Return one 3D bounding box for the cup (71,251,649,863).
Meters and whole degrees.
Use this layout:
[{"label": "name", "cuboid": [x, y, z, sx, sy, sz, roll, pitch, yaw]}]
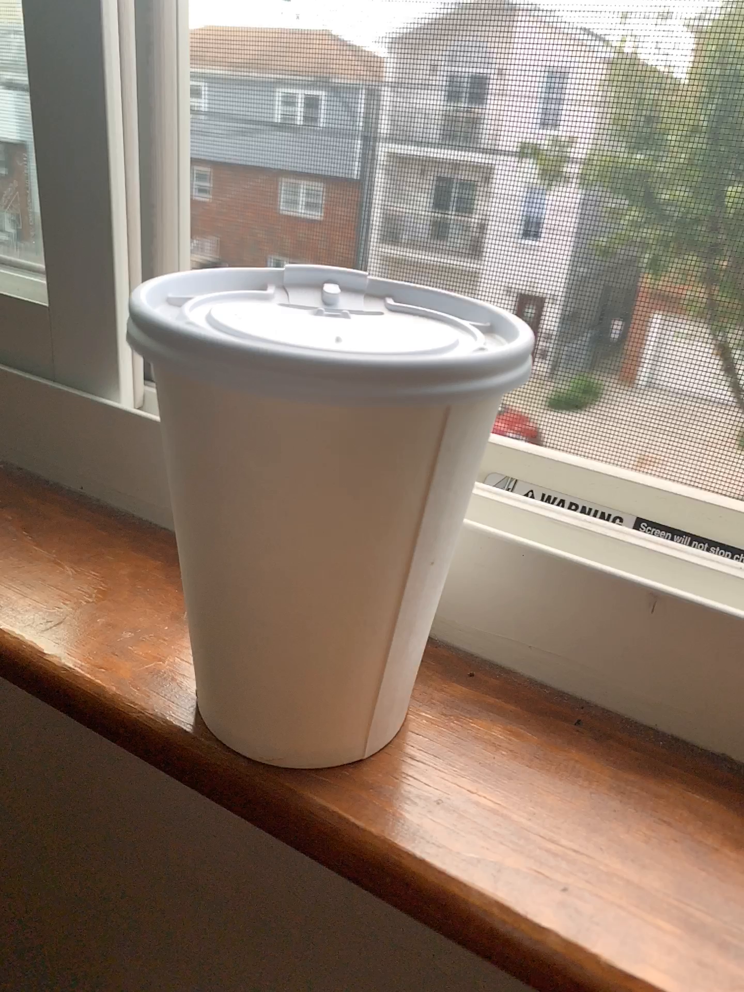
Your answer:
[{"label": "cup", "cuboid": [-0.008, 0.000, 0.189, 0.090, 0.099, 0.090, 5, 25, -2]}]
